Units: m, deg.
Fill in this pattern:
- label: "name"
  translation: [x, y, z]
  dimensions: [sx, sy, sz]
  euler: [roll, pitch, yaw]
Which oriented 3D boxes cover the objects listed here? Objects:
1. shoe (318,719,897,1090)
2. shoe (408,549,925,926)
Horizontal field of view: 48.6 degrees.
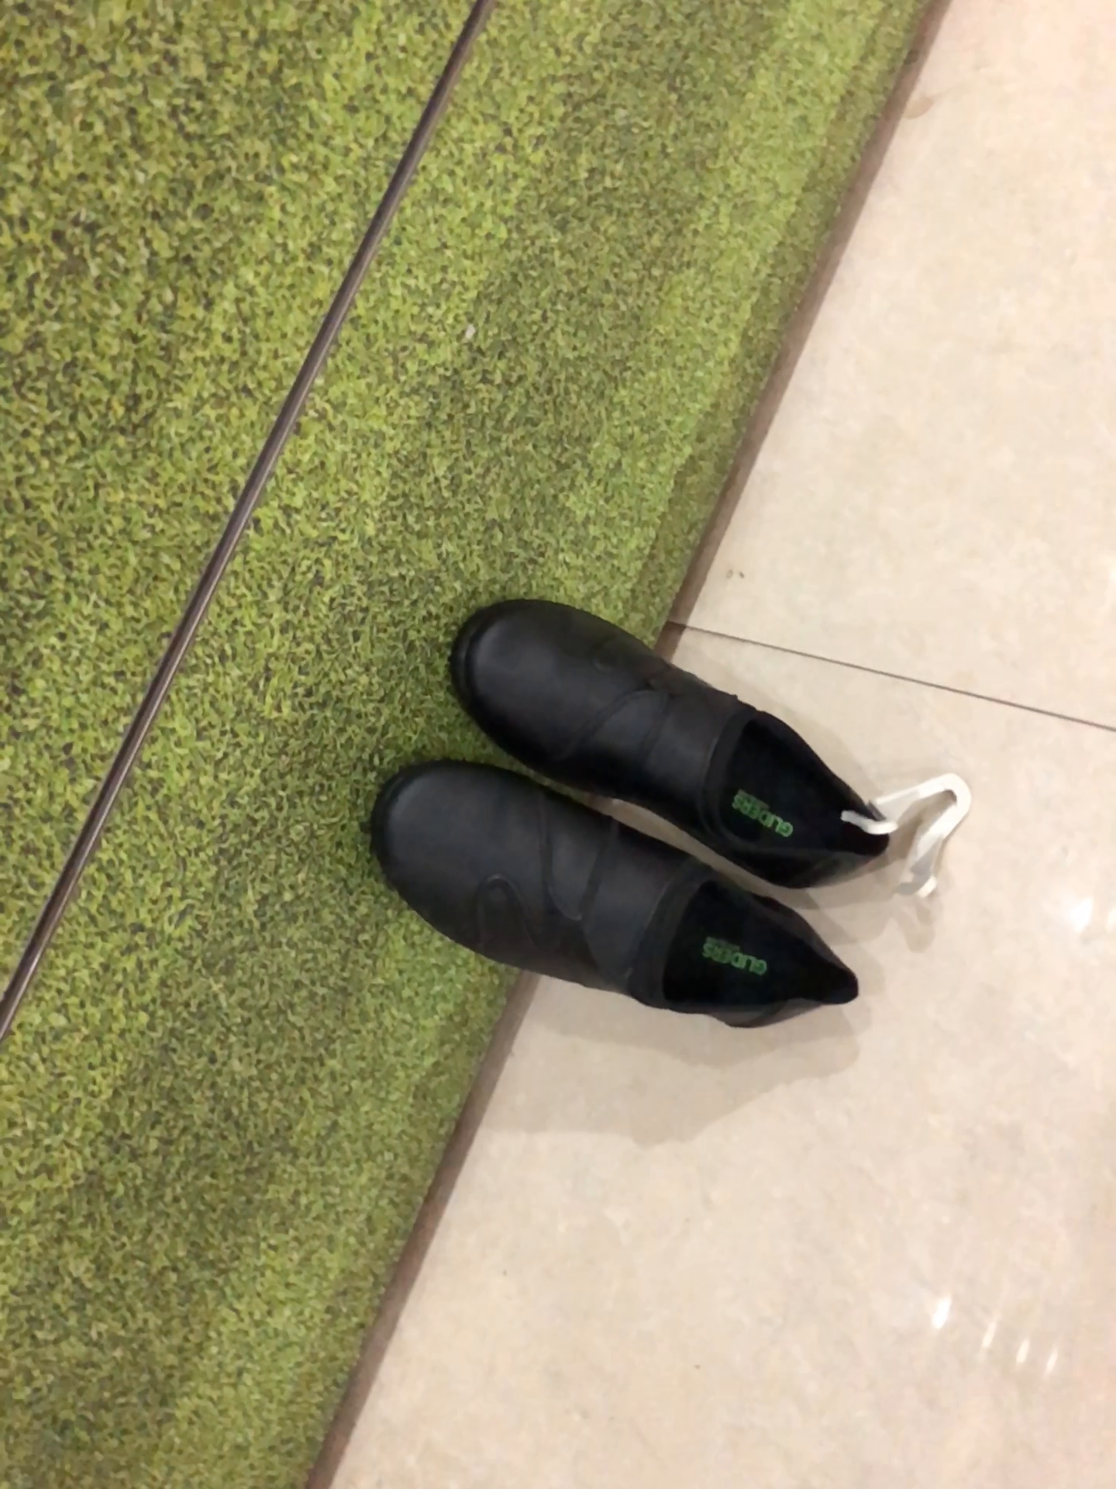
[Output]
- label: "shoe"
  translation: [0.021, 0.076, 0.605]
  dimensions: [0.087, 0.248, 0.107]
  euler: [-69, 15, -6]
- label: "shoe"
  translation: [0.053, -0.001, 0.582]
  dimensions: [0.074, 0.228, 0.067]
  euler: [-63, 20, -4]
